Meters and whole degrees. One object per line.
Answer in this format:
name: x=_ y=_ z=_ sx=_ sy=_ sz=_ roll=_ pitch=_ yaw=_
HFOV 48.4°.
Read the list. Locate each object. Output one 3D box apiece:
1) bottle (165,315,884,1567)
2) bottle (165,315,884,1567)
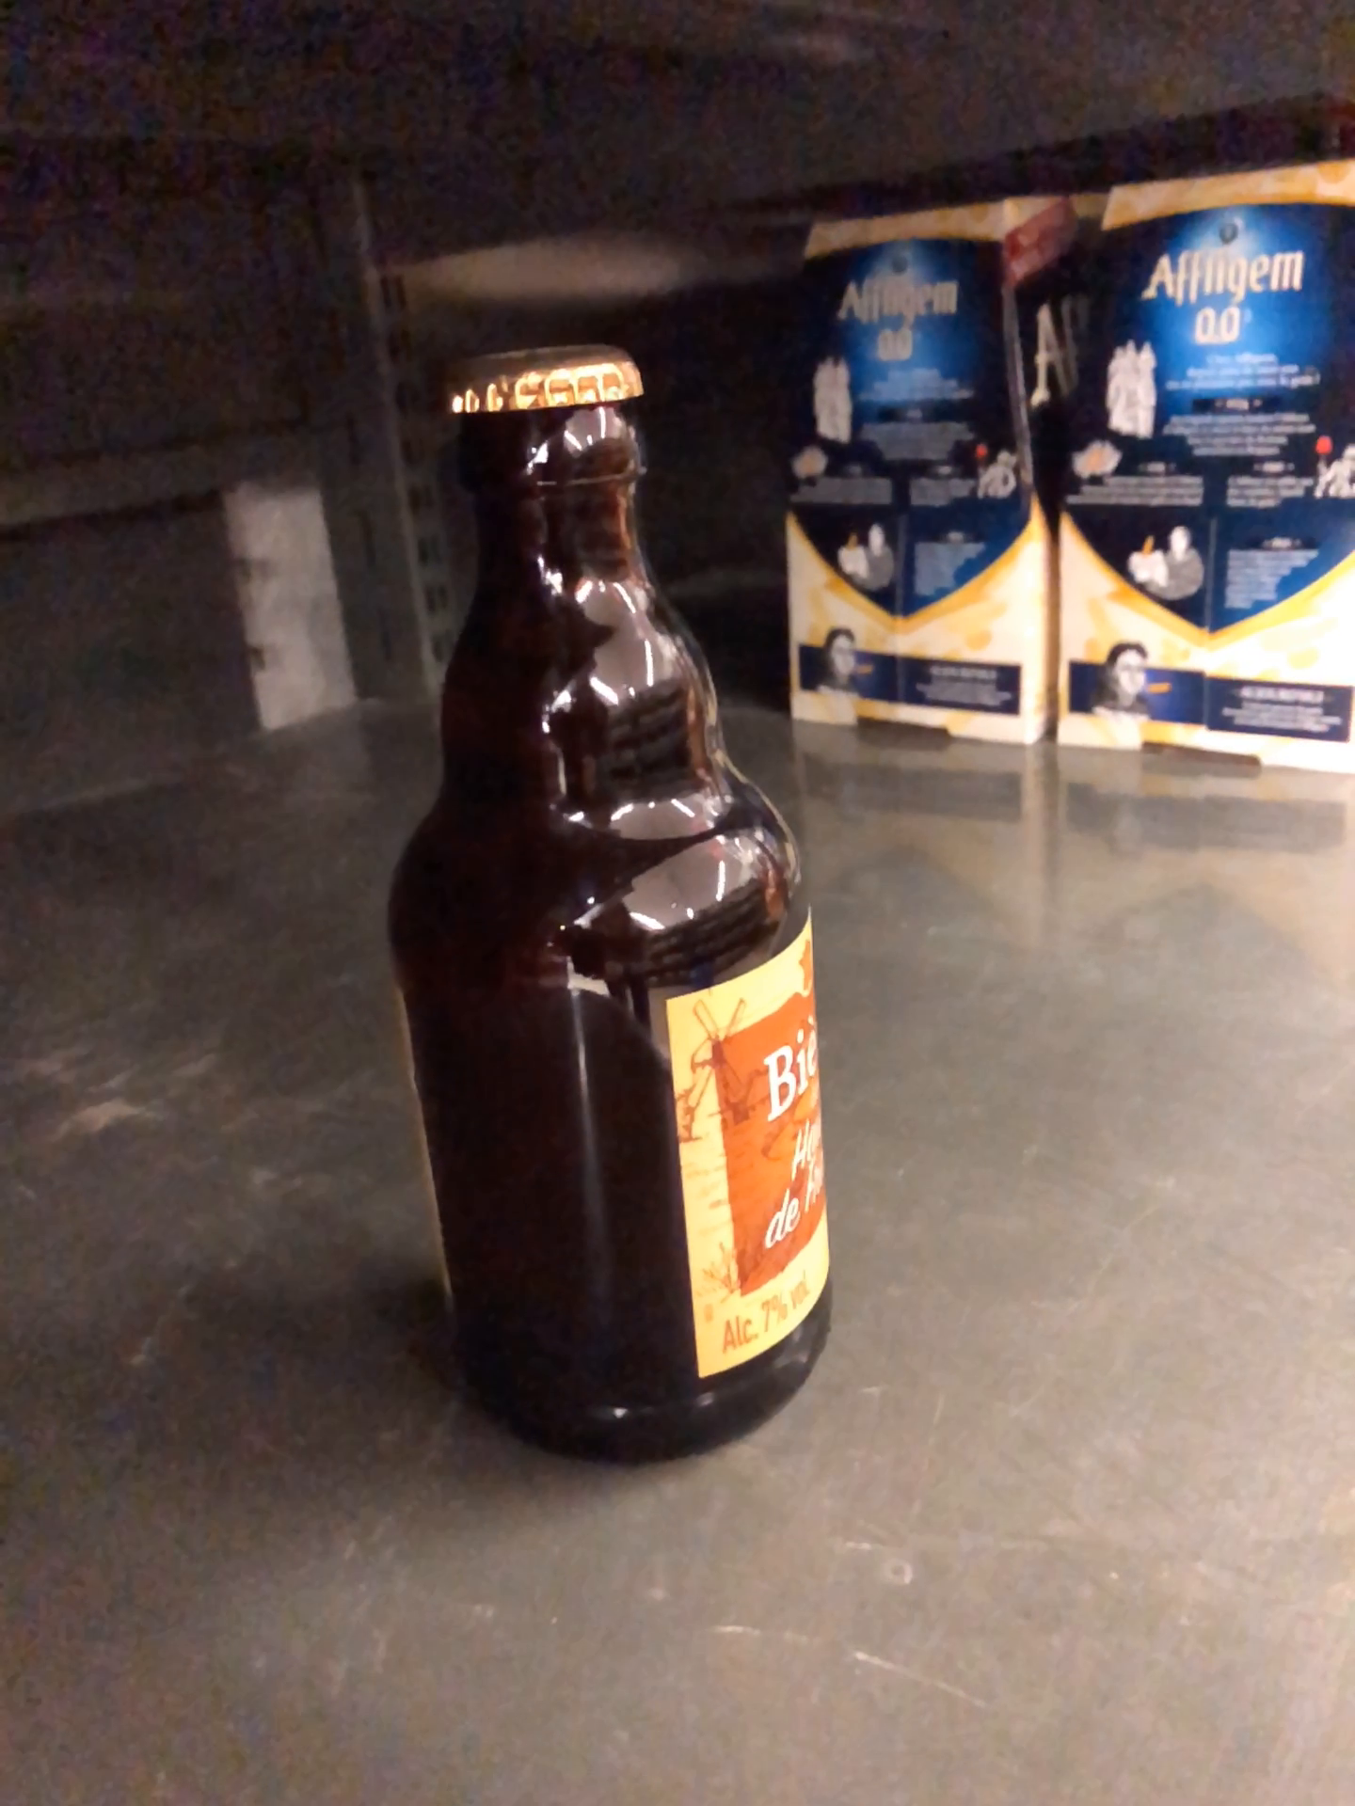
bottle: x=-0.013 y=0.005 z=0.245 sx=0.070 sy=0.179 sz=0.070 roll=-5 pitch=21 yaw=2
bottle: x=-0.013 y=0.005 z=0.245 sx=0.070 sy=0.179 sz=0.070 roll=-5 pitch=21 yaw=2
